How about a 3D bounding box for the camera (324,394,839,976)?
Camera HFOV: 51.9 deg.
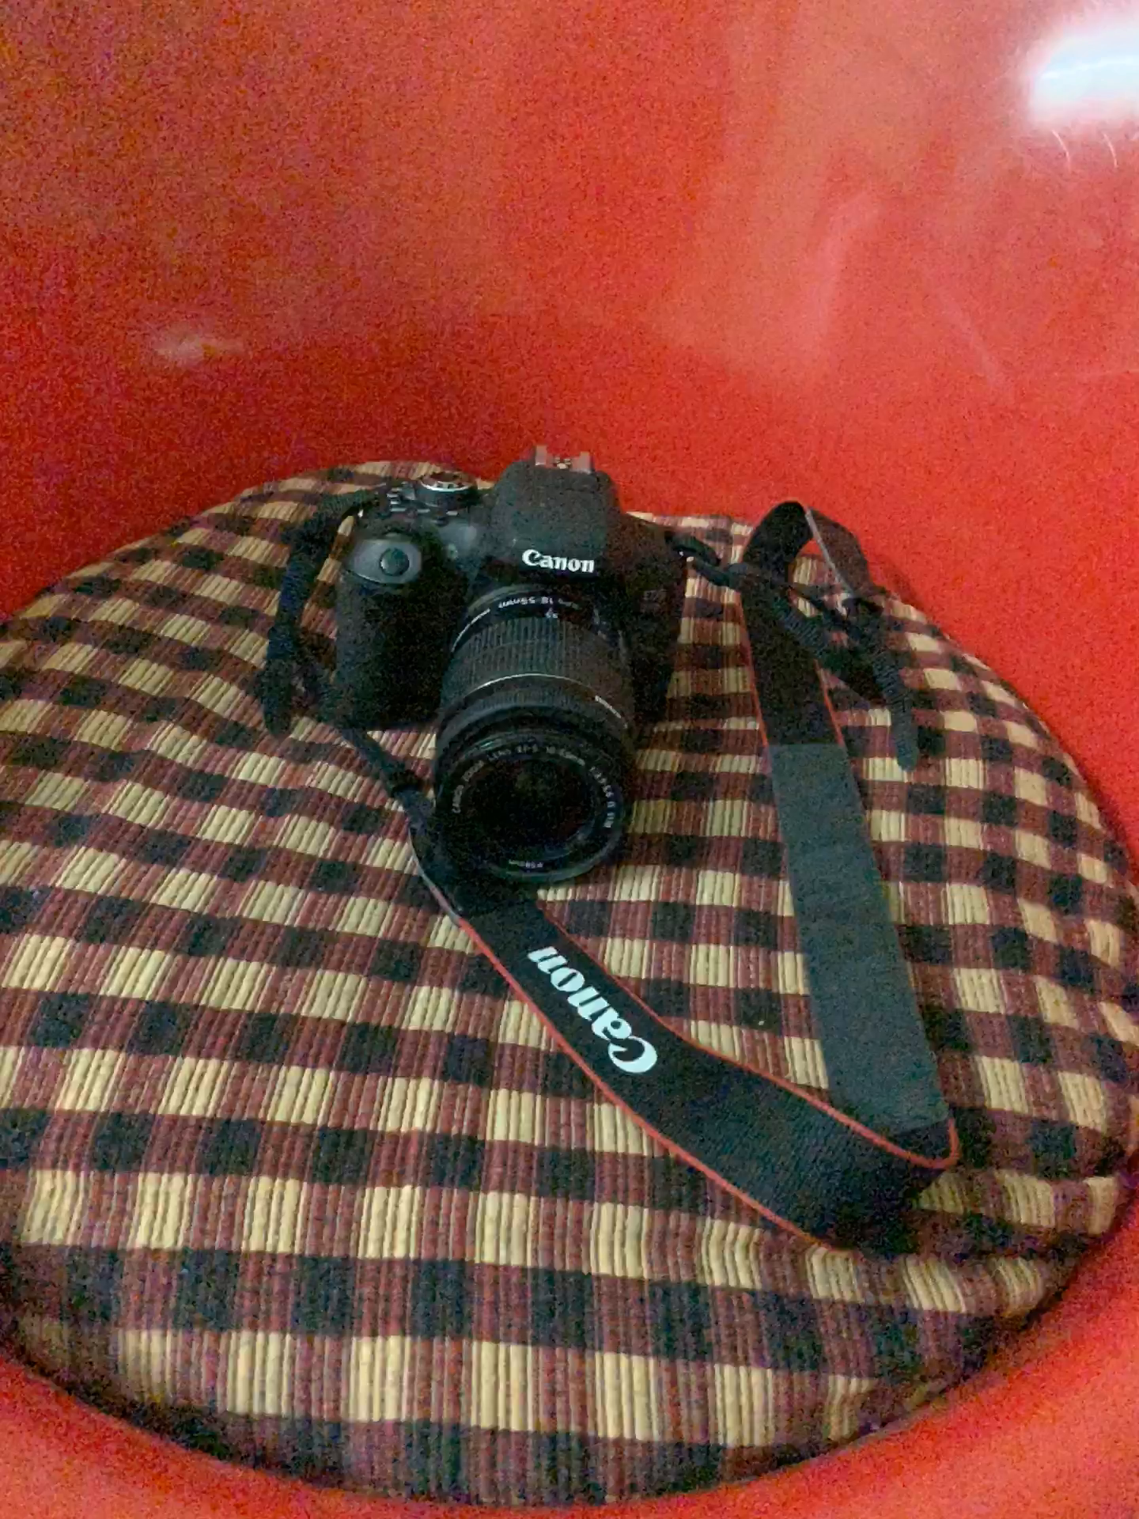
[{"bbox_3d":[0.001,-0.028,0.409,0.140,0.129,0.139,7,41,-2],"label":"camera"}]
